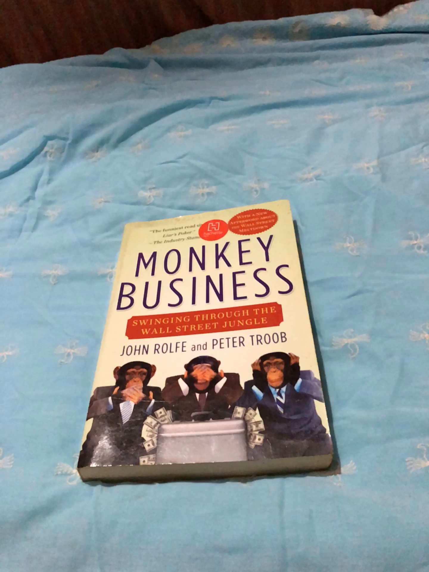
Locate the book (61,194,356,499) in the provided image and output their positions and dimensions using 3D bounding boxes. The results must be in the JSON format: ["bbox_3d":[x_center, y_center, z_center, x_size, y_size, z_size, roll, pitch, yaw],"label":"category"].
[{"bbox_3d":[-0.002,0.029,0.367,0.170,0.040,0.241,-5,47,7],"label":"book"}]
